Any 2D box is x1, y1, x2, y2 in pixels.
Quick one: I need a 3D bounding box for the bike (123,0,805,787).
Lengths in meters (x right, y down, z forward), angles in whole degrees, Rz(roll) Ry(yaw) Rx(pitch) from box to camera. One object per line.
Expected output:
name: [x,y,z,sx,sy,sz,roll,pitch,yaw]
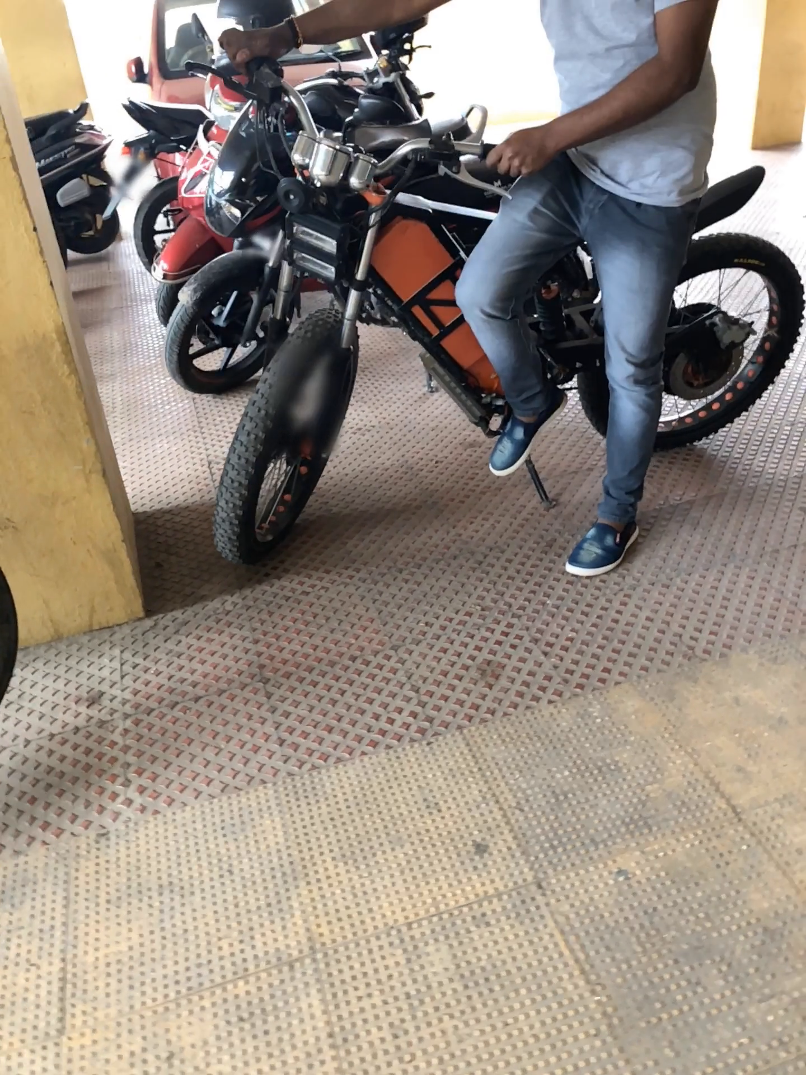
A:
bike: [0.358,-0.466,2.128,1.750,1.185,0.757,-20,33,-15]
